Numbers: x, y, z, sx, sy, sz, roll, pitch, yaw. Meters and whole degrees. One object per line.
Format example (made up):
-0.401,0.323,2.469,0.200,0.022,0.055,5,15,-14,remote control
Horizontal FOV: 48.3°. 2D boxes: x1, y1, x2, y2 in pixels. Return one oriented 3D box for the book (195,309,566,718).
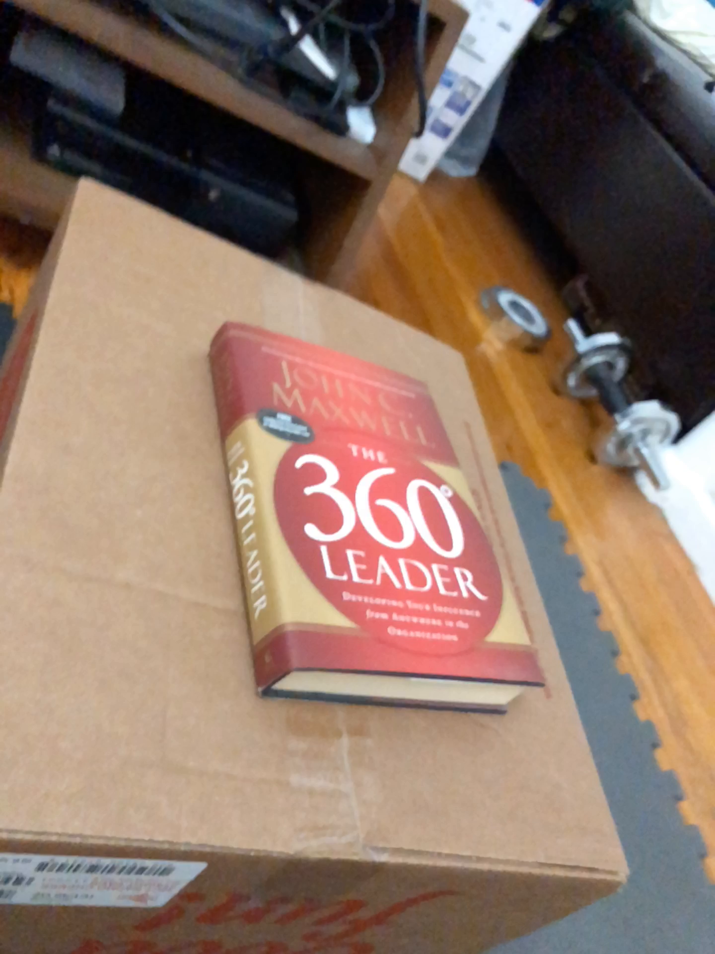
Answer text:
0.005,0.016,0.465,0.180,0.030,0.241,14,43,-32,book
